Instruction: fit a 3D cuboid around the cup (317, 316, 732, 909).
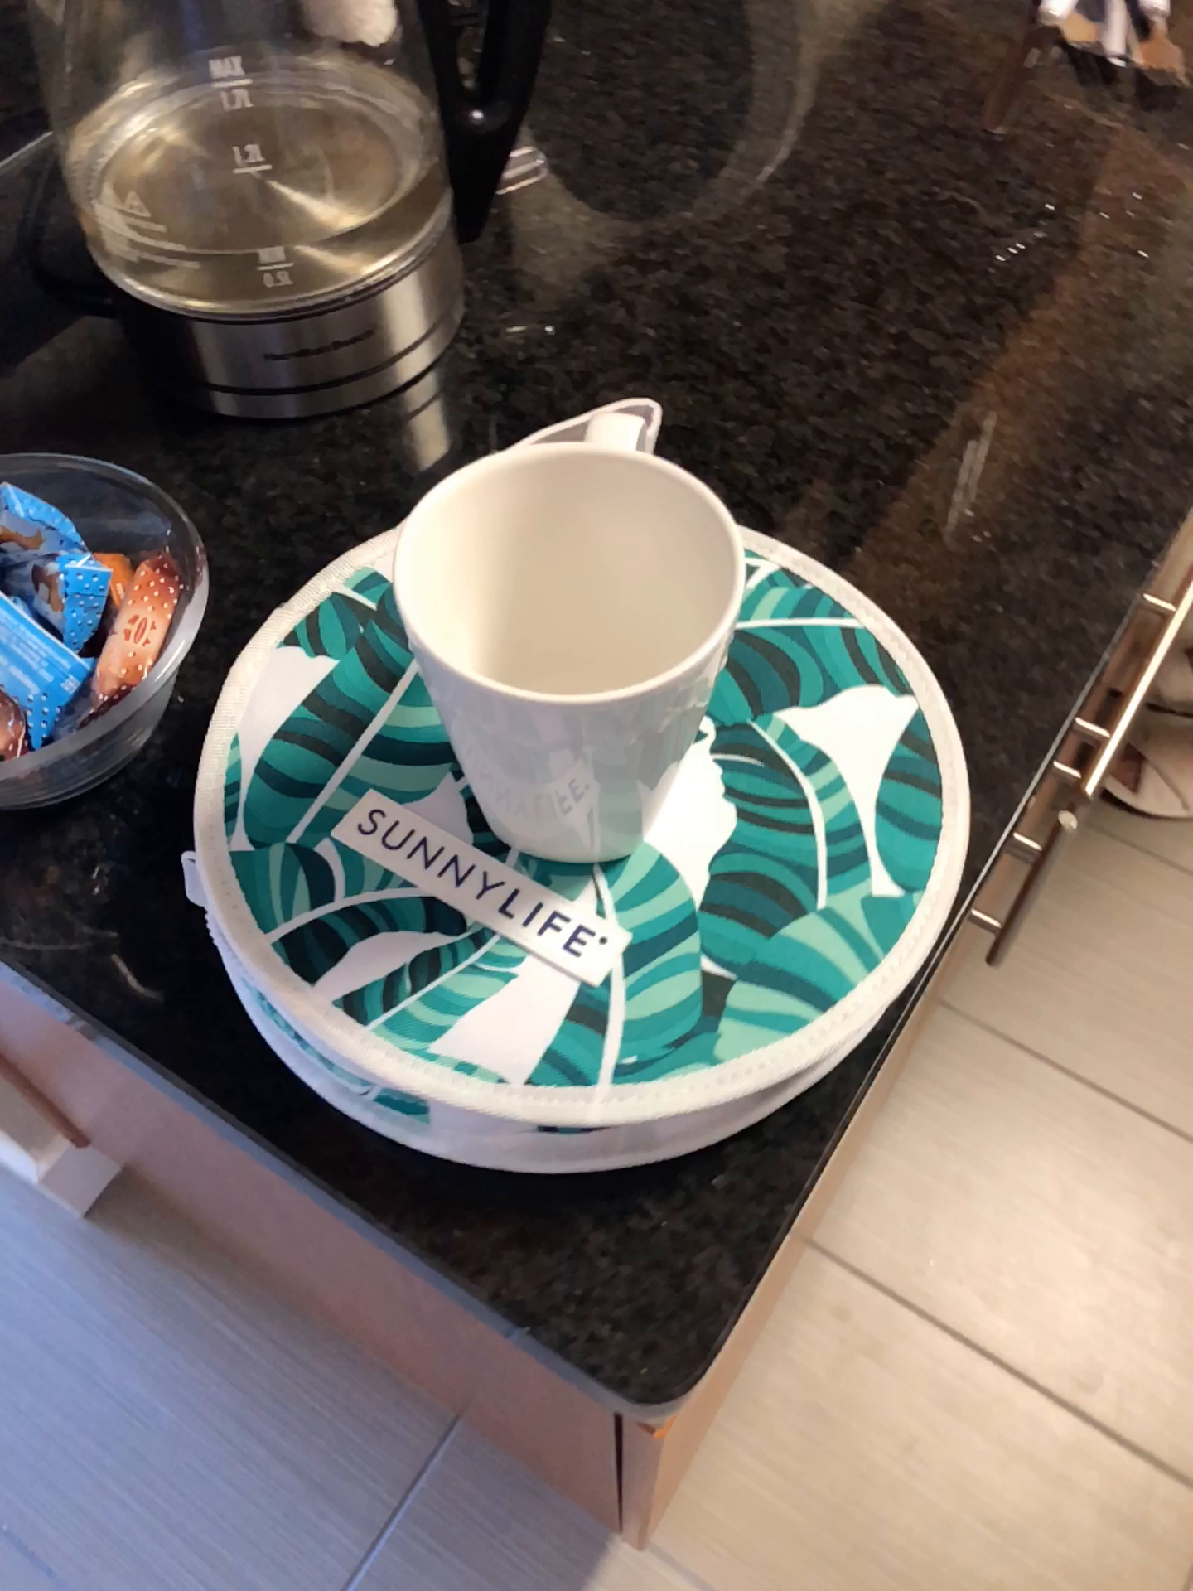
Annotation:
[{"bbox_3d":[-0.012,-0.050,0.361,0.090,0.090,0.130,3,56,2],"label":"cup"}]
